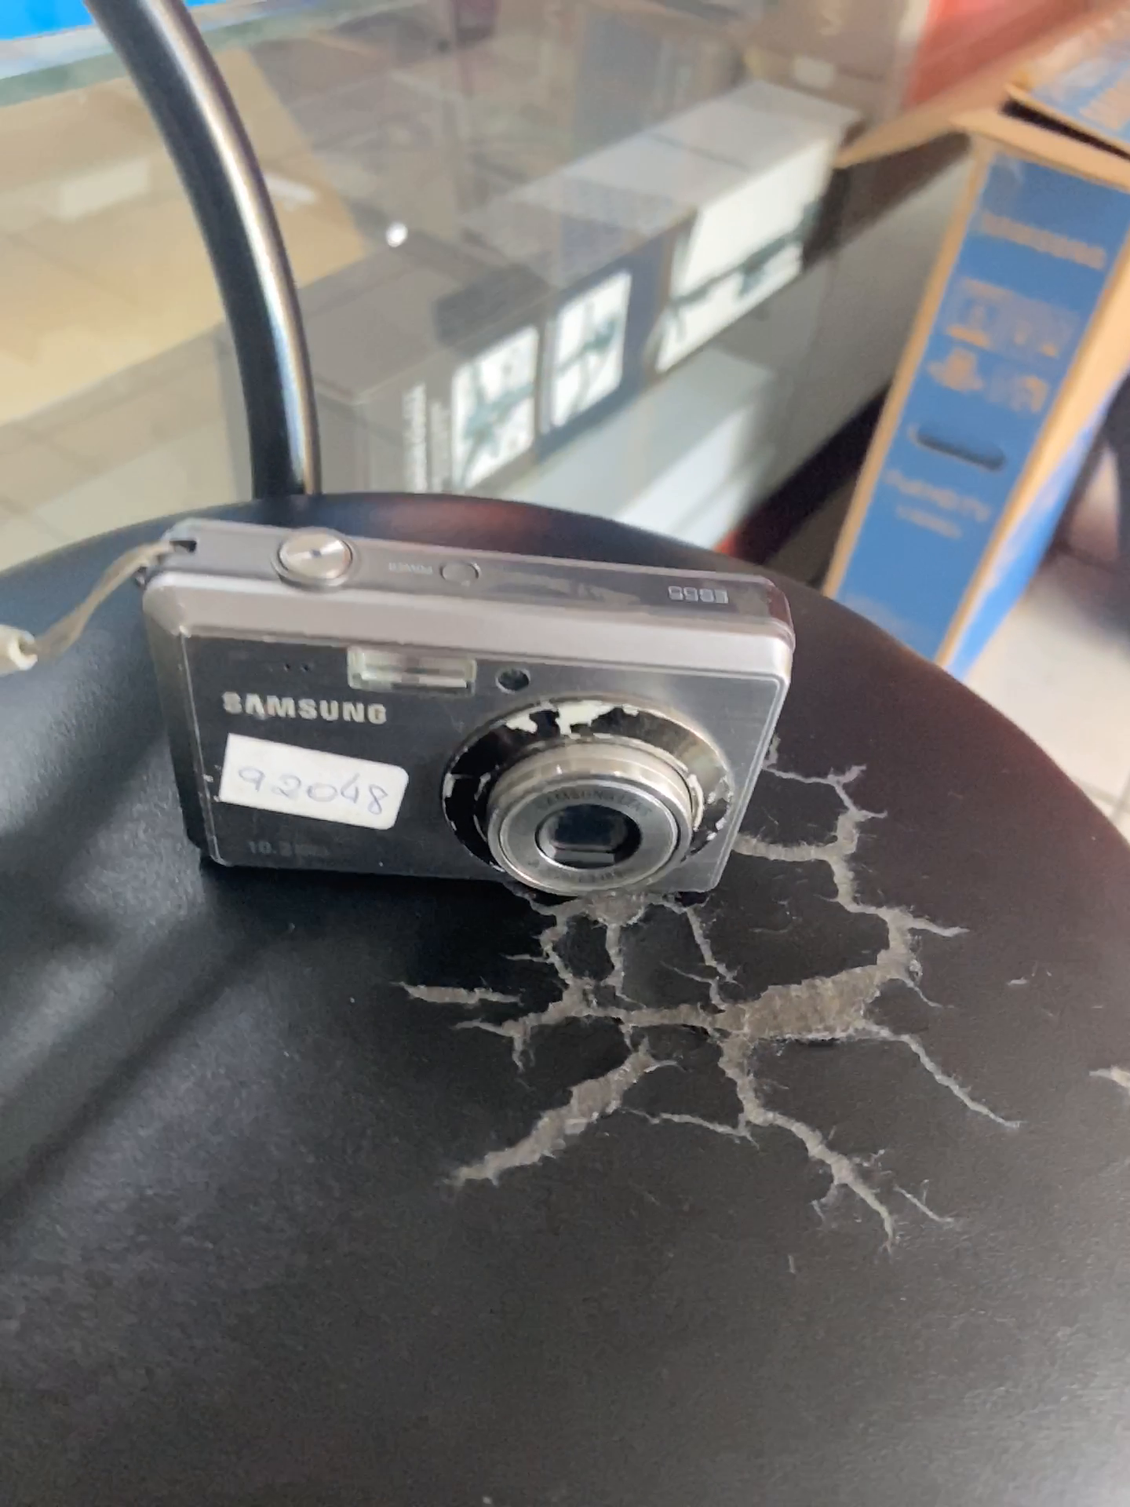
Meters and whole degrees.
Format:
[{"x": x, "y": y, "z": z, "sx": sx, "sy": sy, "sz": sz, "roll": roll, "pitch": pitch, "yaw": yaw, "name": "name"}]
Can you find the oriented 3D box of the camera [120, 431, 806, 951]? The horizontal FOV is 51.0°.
[{"x": -0.016, "y": -0.007, "z": 0.194, "sx": 0.090, "sy": 0.070, "sz": 0.040, "roll": 4, "pitch": 46, "yaw": -5, "name": "camera"}]
